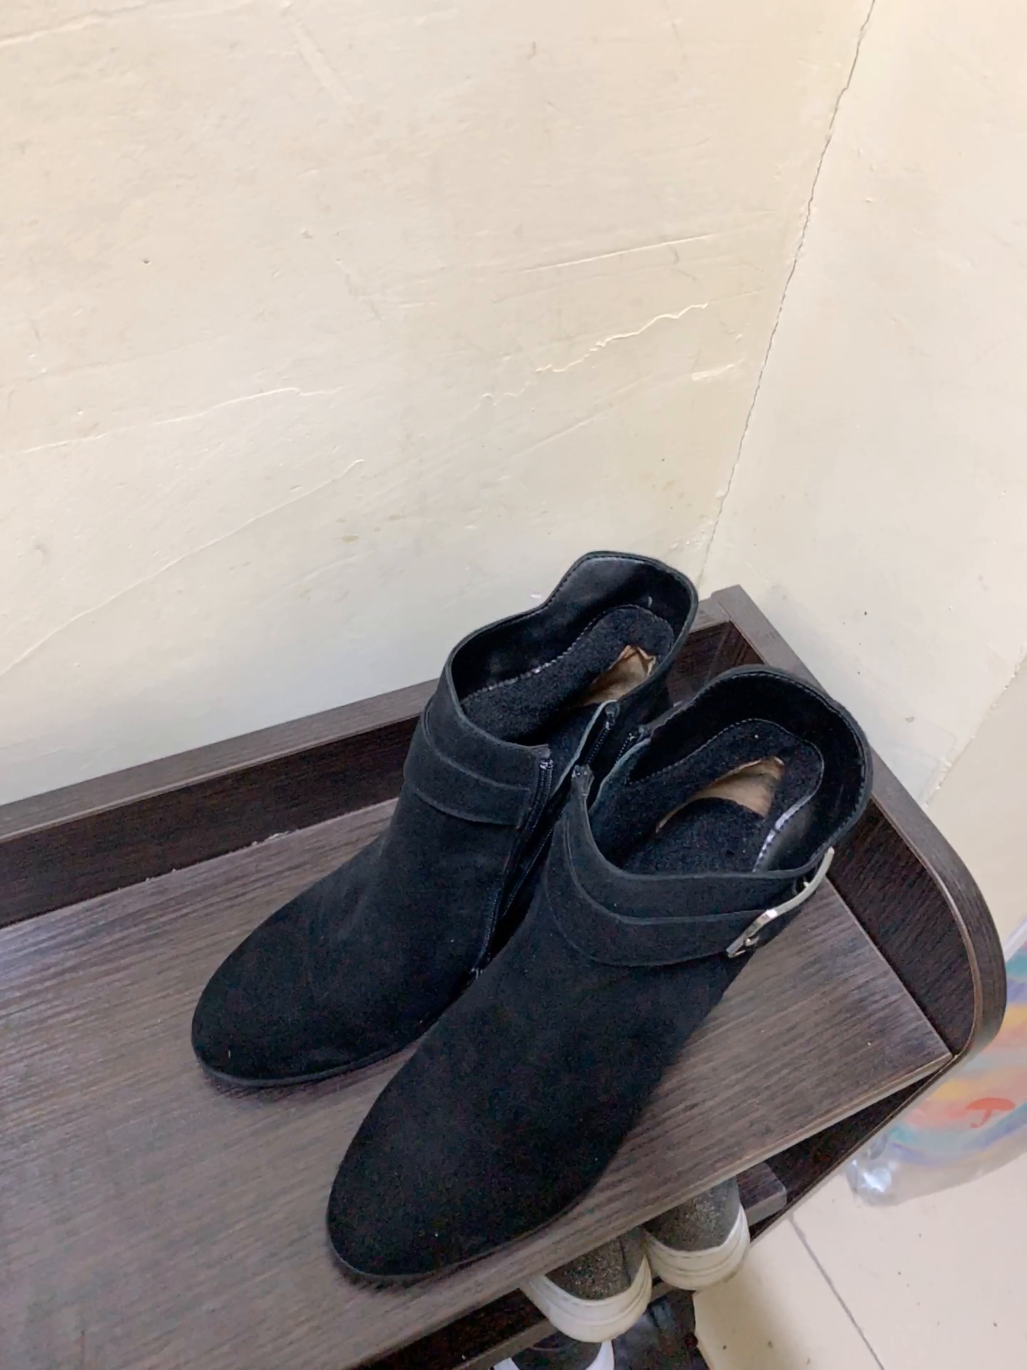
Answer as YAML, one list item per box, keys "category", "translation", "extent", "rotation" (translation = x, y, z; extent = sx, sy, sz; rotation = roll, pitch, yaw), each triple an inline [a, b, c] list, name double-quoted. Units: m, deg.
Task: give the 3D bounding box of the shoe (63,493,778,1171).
- category: "shoe"
  translation: [-0.029, 0.059, 0.437]
  extent: [0.240, 0.189, 0.088]
  rotation: [-28, 57, -28]

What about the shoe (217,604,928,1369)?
- category: "shoe"
  translation: [0.025, 0.116, 0.399]
  extent: [0.088, 0.189, 0.241]
  rotation: [37, 54, 24]
